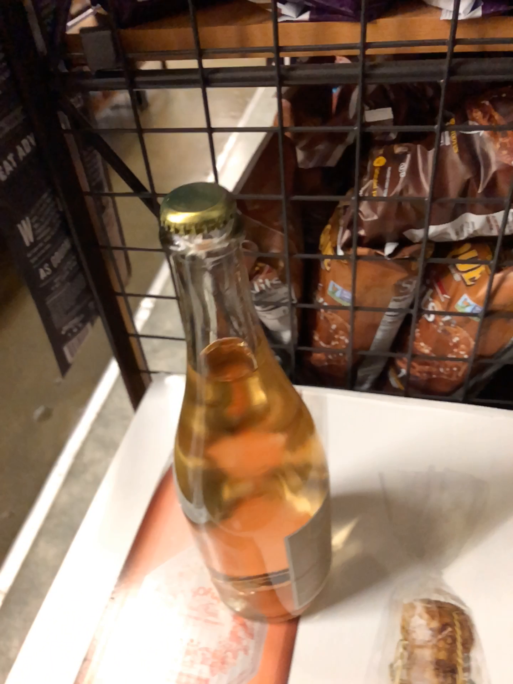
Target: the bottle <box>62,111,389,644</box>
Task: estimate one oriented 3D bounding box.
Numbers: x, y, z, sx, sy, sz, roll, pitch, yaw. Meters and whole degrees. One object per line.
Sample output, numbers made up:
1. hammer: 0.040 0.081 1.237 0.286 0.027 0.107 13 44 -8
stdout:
1. bottle: 0.007 0.046 0.318 0.095 0.304 0.099 -4 42 3
